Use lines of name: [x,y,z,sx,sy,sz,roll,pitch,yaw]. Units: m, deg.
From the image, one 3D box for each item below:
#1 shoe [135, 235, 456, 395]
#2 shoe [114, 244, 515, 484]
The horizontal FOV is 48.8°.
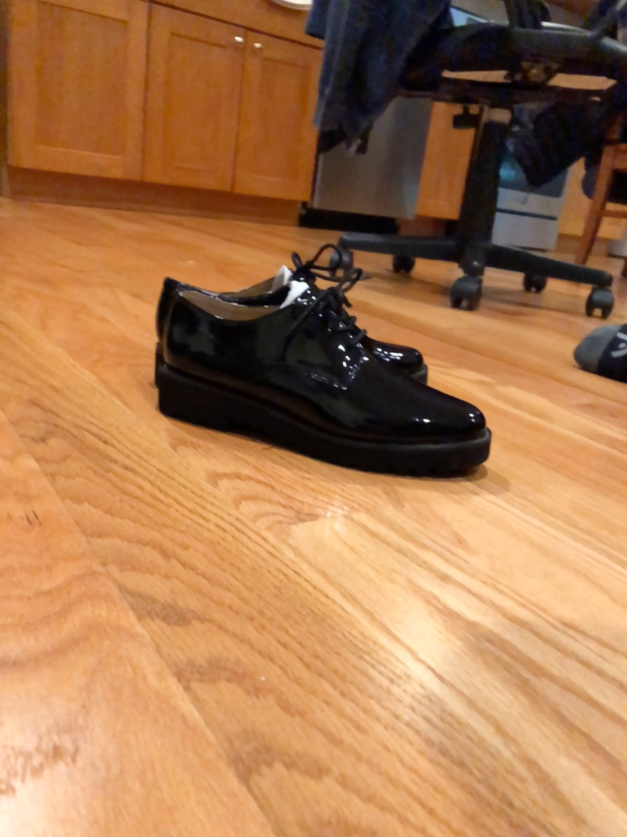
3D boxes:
shoe: [-0.022,-0.088,0.593,0.251,0.102,0.095,2,20,-15]
shoe: [-0.001,-0.048,0.478,0.251,0.102,0.095,12,20,15]
